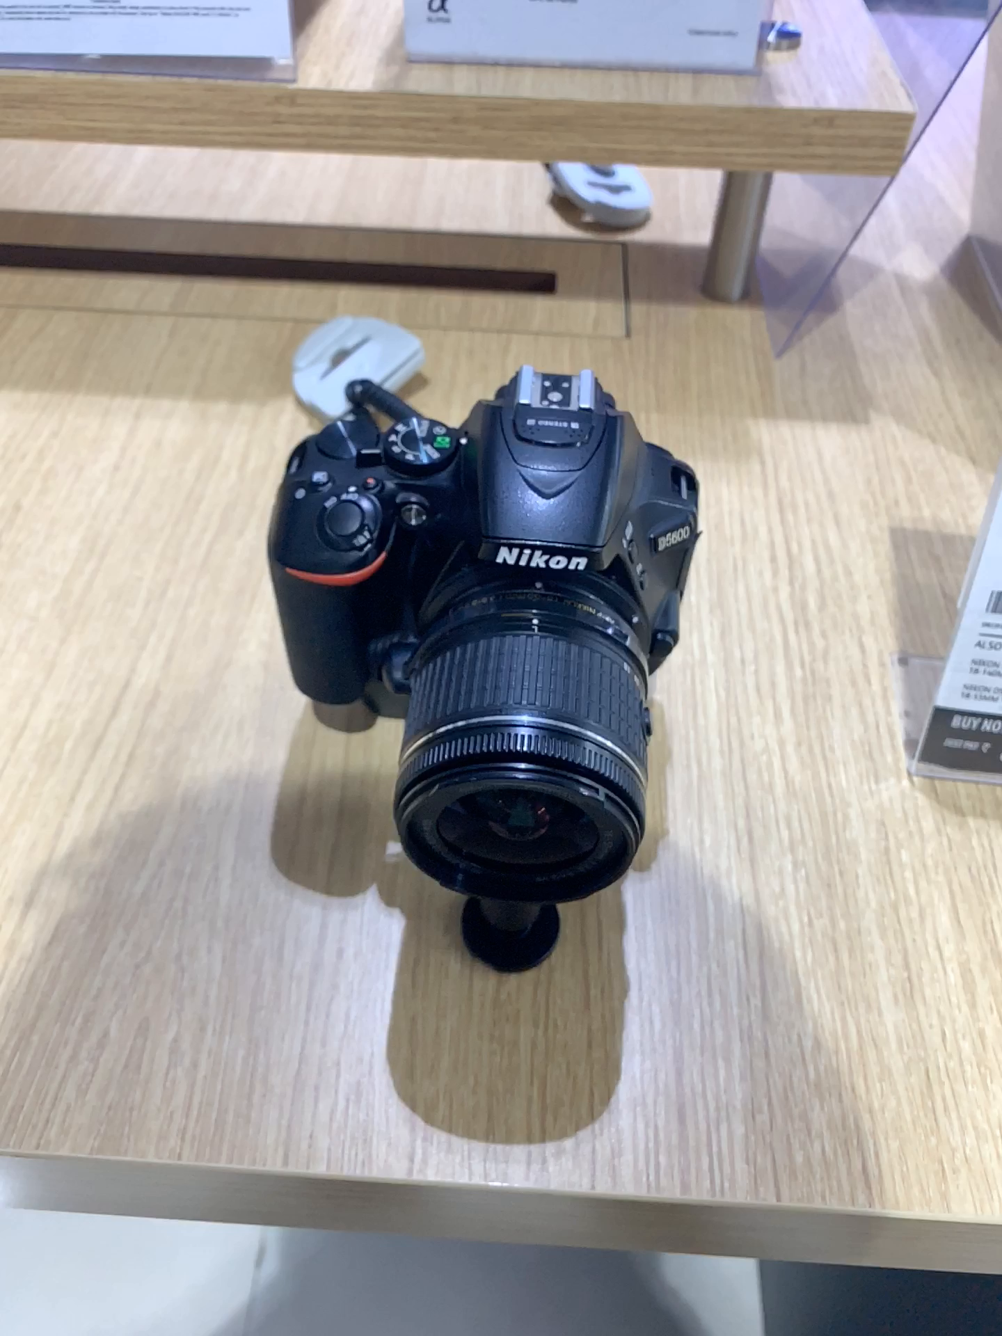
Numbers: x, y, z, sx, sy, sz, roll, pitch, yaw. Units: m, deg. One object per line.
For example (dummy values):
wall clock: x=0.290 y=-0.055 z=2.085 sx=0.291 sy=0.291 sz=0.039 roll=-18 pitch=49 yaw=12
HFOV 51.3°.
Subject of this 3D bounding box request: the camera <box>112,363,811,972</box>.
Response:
camera: x=-0.005 y=-0.003 z=0.251 sx=0.124 sy=0.080 sz=0.114 roll=4 pitch=48 yaw=1
